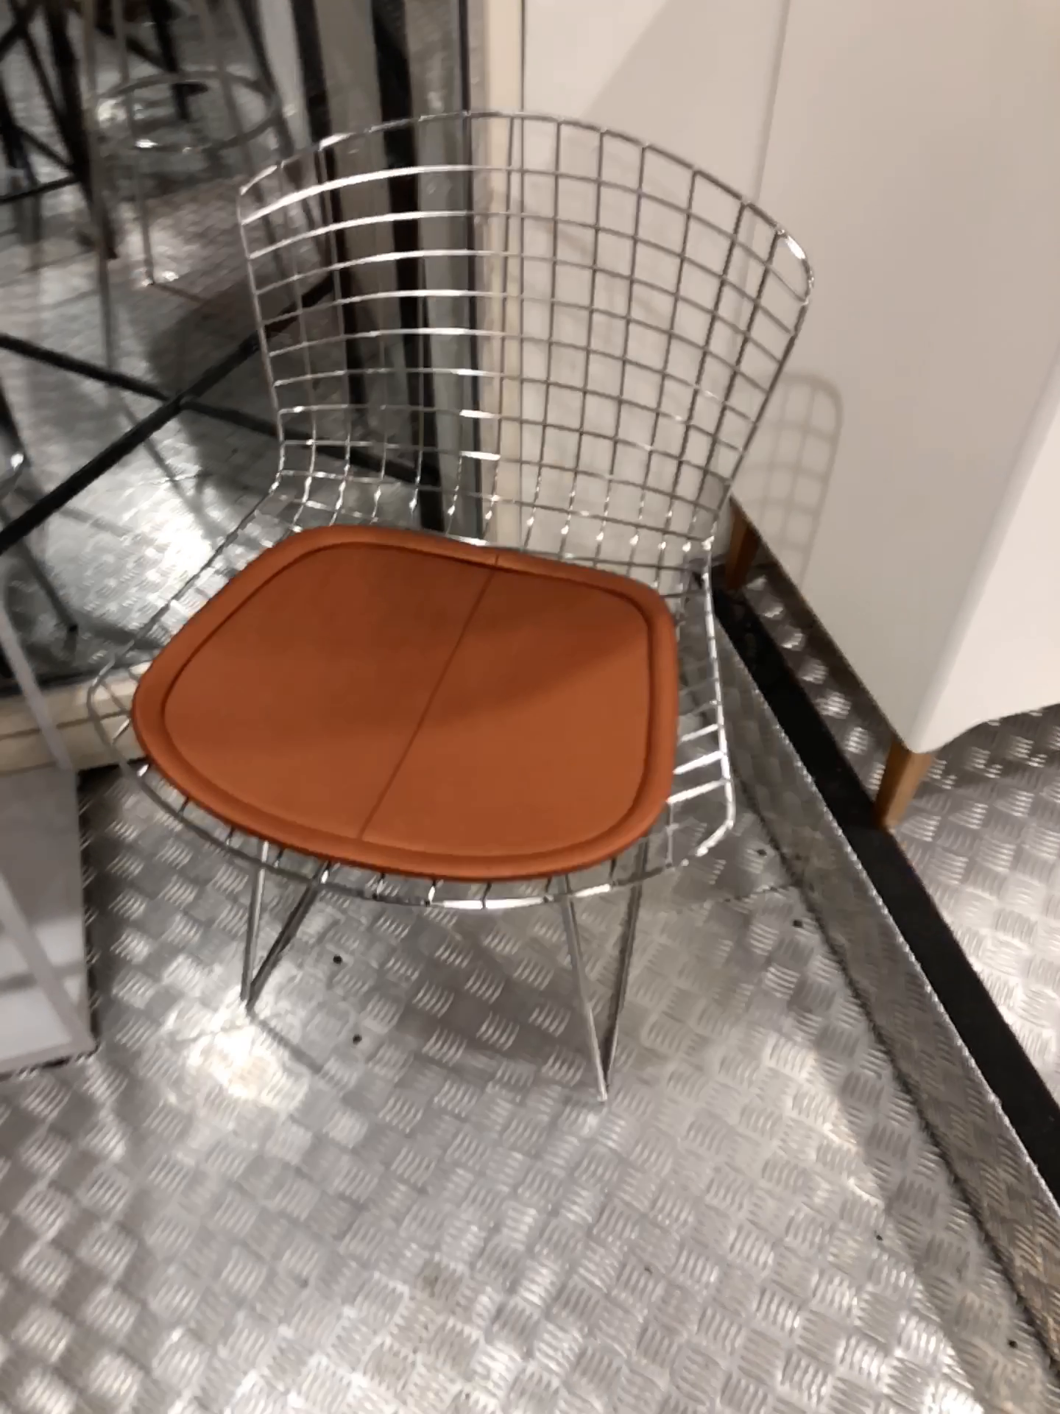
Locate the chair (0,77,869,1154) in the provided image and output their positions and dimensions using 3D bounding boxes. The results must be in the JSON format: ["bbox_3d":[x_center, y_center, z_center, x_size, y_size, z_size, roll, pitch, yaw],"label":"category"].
[{"bbox_3d":[-0.061,-0.073,1.068,0.550,0.705,0.574,11,48,10],"label":"chair"}]
